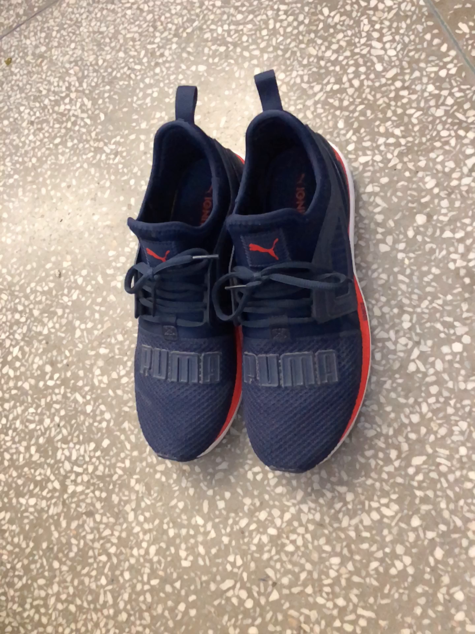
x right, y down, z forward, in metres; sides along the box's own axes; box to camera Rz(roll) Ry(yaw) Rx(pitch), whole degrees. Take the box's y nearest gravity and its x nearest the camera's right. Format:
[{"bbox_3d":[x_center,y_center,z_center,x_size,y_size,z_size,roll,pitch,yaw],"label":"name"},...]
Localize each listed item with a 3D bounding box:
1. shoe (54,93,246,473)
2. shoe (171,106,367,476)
[{"bbox_3d":[-0.060,-0.021,0.421,0.100,0.100,0.270,-2,77,19],"label":"shoe"},{"bbox_3d":[0.032,-0.009,0.389,0.100,0.120,0.230,-4,77,24],"label":"shoe"}]
